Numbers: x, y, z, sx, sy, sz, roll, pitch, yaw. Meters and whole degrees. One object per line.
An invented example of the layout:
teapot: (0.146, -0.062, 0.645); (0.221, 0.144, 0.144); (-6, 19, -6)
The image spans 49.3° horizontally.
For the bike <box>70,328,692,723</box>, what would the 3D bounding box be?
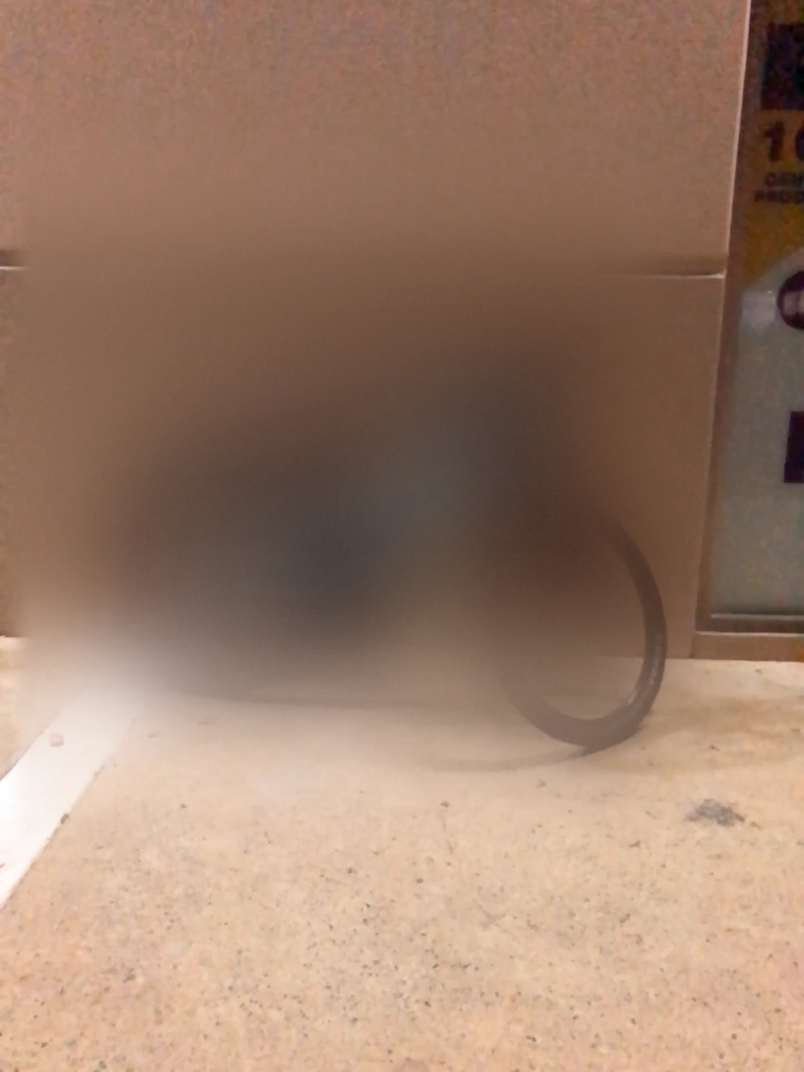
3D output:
bike: (-0.022, -0.081, 2.645); (1.603, 1.064, 0.589); (1, 13, 5)
